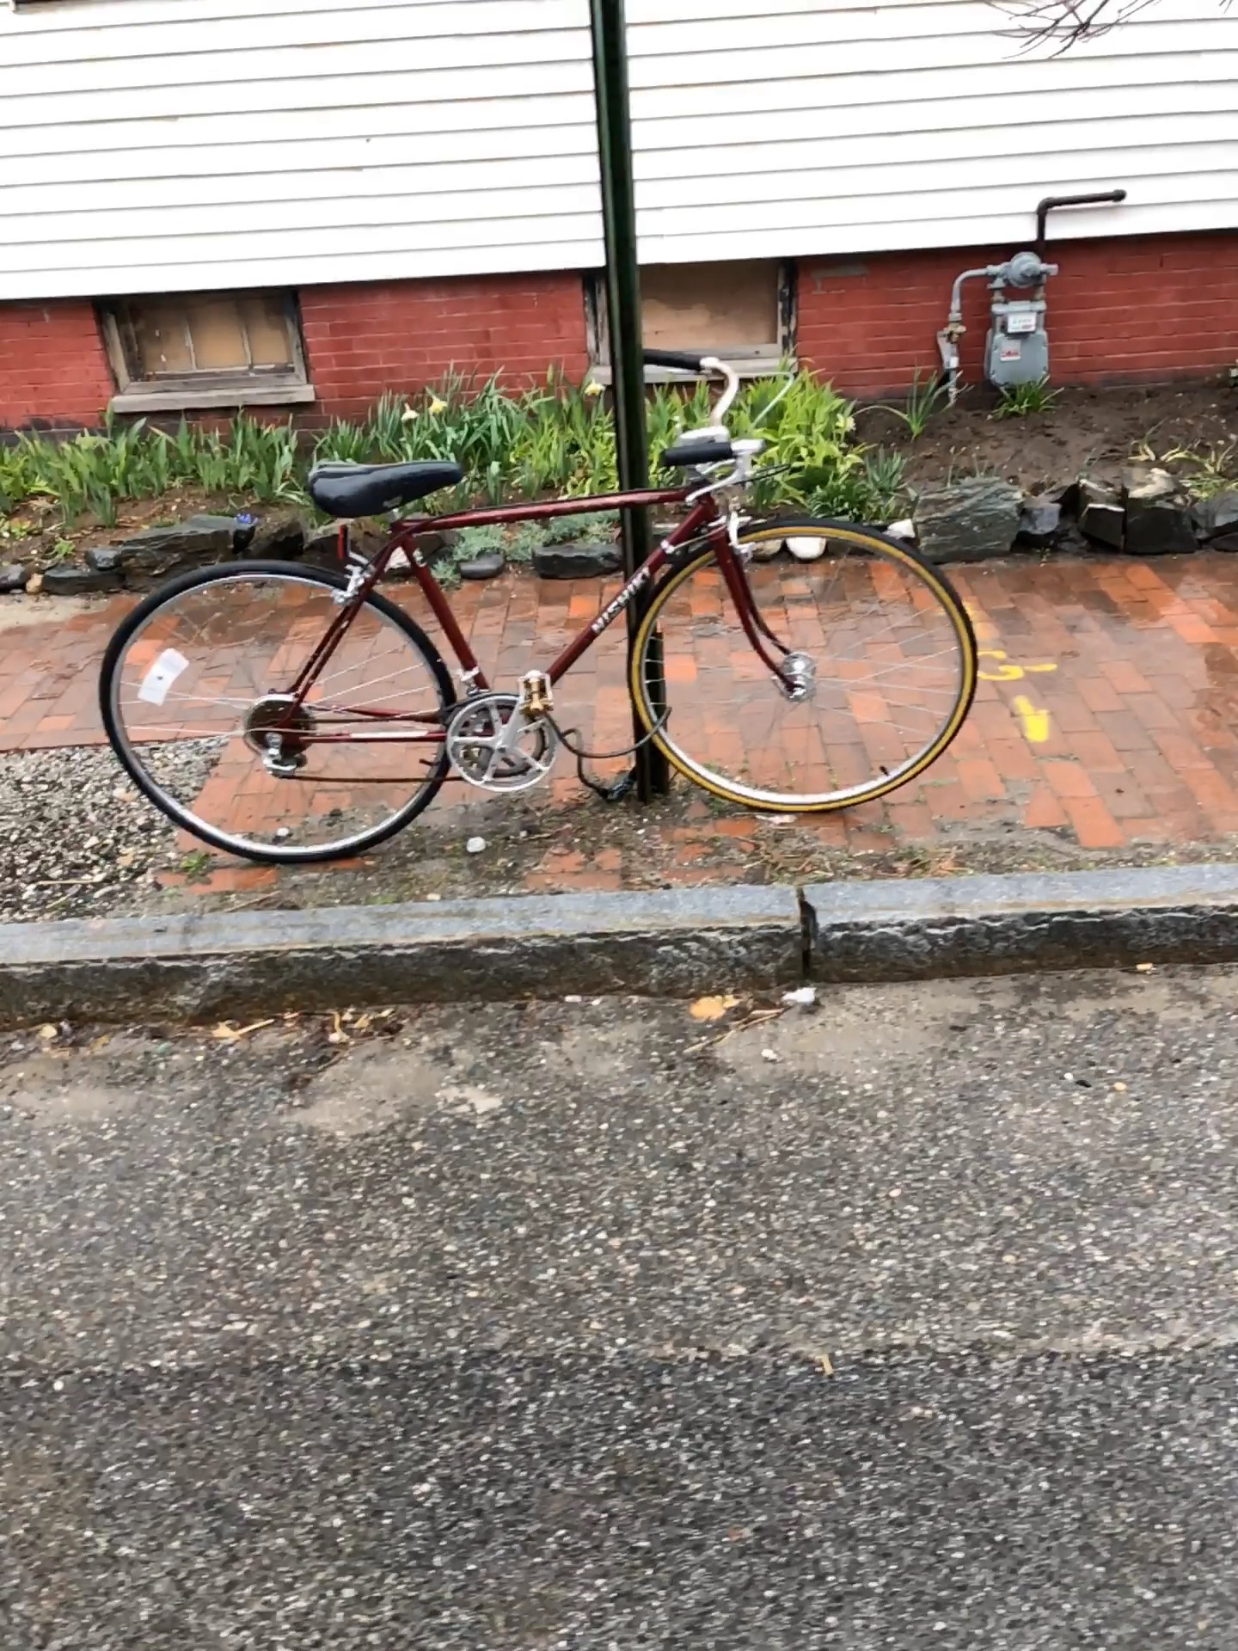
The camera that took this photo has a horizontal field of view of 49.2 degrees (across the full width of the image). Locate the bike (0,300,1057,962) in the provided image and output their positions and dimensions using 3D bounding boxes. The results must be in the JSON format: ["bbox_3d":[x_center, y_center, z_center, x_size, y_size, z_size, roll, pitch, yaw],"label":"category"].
[{"bbox_3d":[-0.146,-0.343,2.431,1.604,0.907,0.502,-5,28,2],"label":"bike"}]
